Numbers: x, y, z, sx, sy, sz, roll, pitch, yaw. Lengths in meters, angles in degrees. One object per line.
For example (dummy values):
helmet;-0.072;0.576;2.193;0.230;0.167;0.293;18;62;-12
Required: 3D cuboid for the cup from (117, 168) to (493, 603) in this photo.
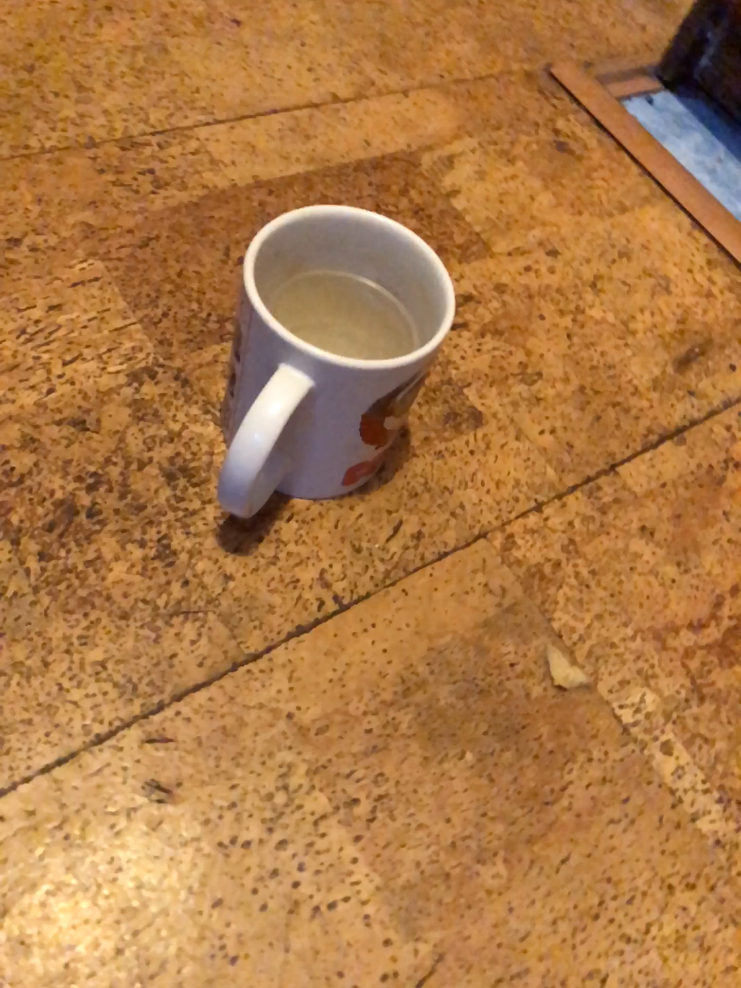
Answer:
cup;-0.029;-0.043;0.331;0.082;0.100;0.120;34;57;5
